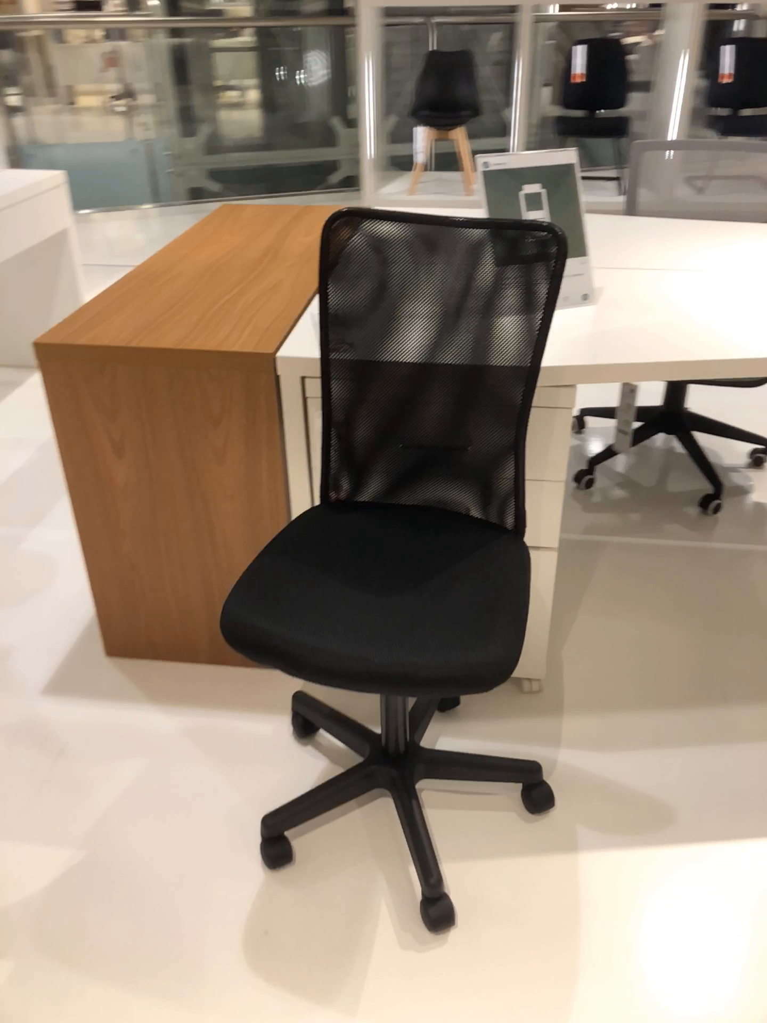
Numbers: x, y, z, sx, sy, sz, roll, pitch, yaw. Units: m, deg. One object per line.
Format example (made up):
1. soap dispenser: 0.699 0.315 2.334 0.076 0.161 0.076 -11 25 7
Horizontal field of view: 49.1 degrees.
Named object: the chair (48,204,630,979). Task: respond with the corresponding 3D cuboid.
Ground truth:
1. chair: 0.007 0.089 1.272 0.560 0.923 0.574 8 32 15
